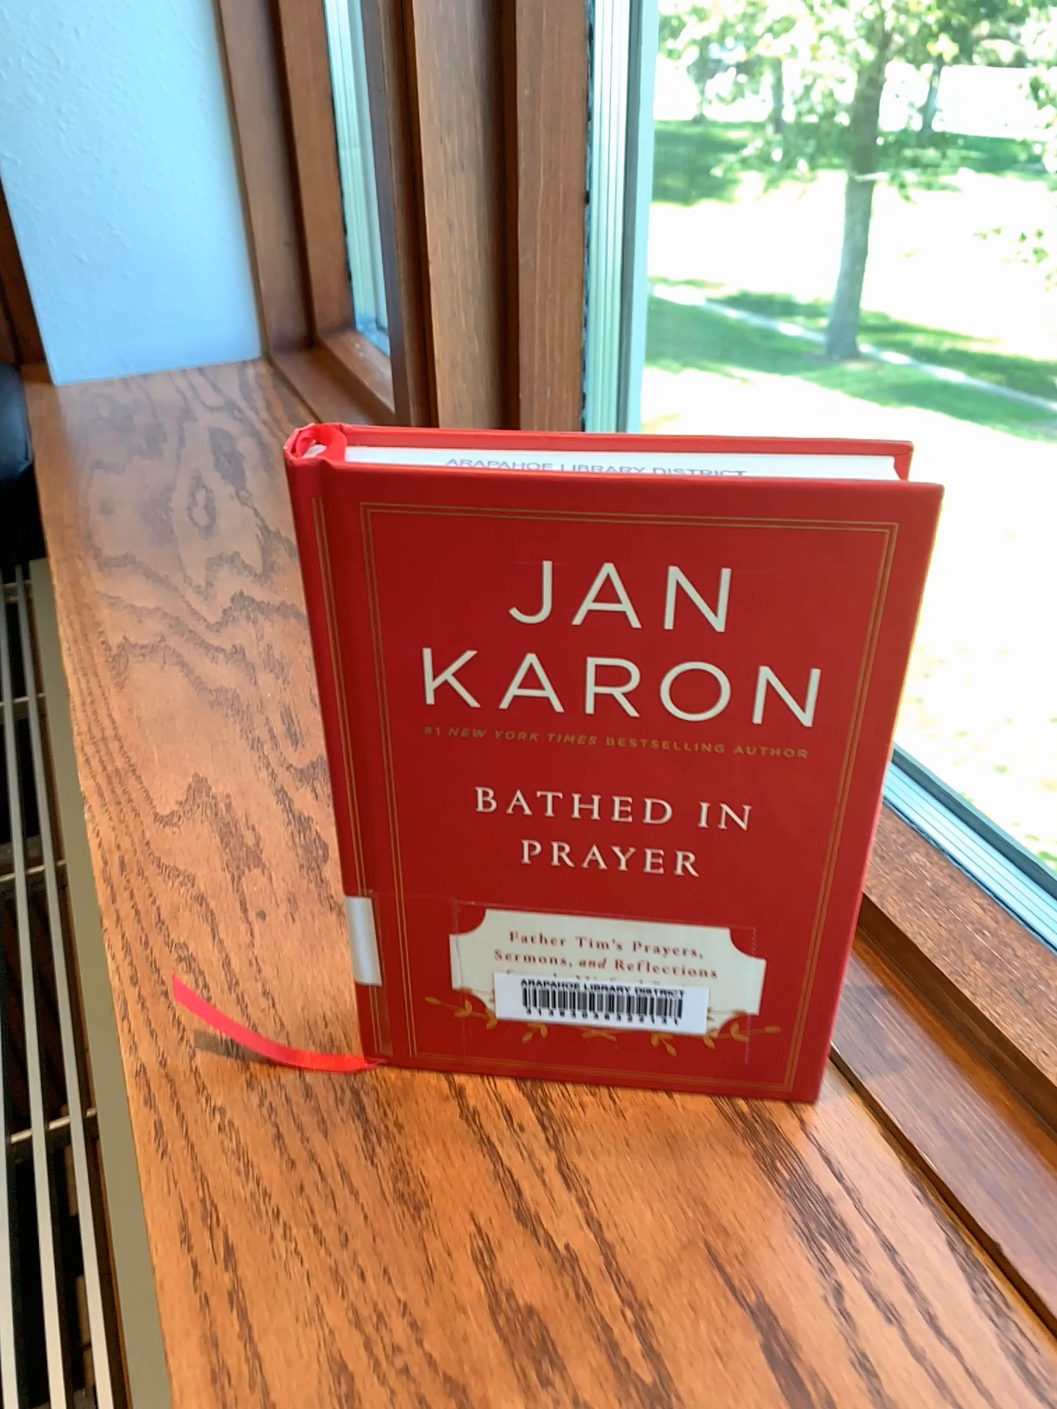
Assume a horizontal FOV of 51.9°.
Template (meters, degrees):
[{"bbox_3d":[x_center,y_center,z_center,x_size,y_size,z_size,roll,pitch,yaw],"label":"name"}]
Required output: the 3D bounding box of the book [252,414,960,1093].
[{"bbox_3d":[0.015,0.019,0.262,0.135,0.169,0.028,3,31,6],"label":"book"}]
